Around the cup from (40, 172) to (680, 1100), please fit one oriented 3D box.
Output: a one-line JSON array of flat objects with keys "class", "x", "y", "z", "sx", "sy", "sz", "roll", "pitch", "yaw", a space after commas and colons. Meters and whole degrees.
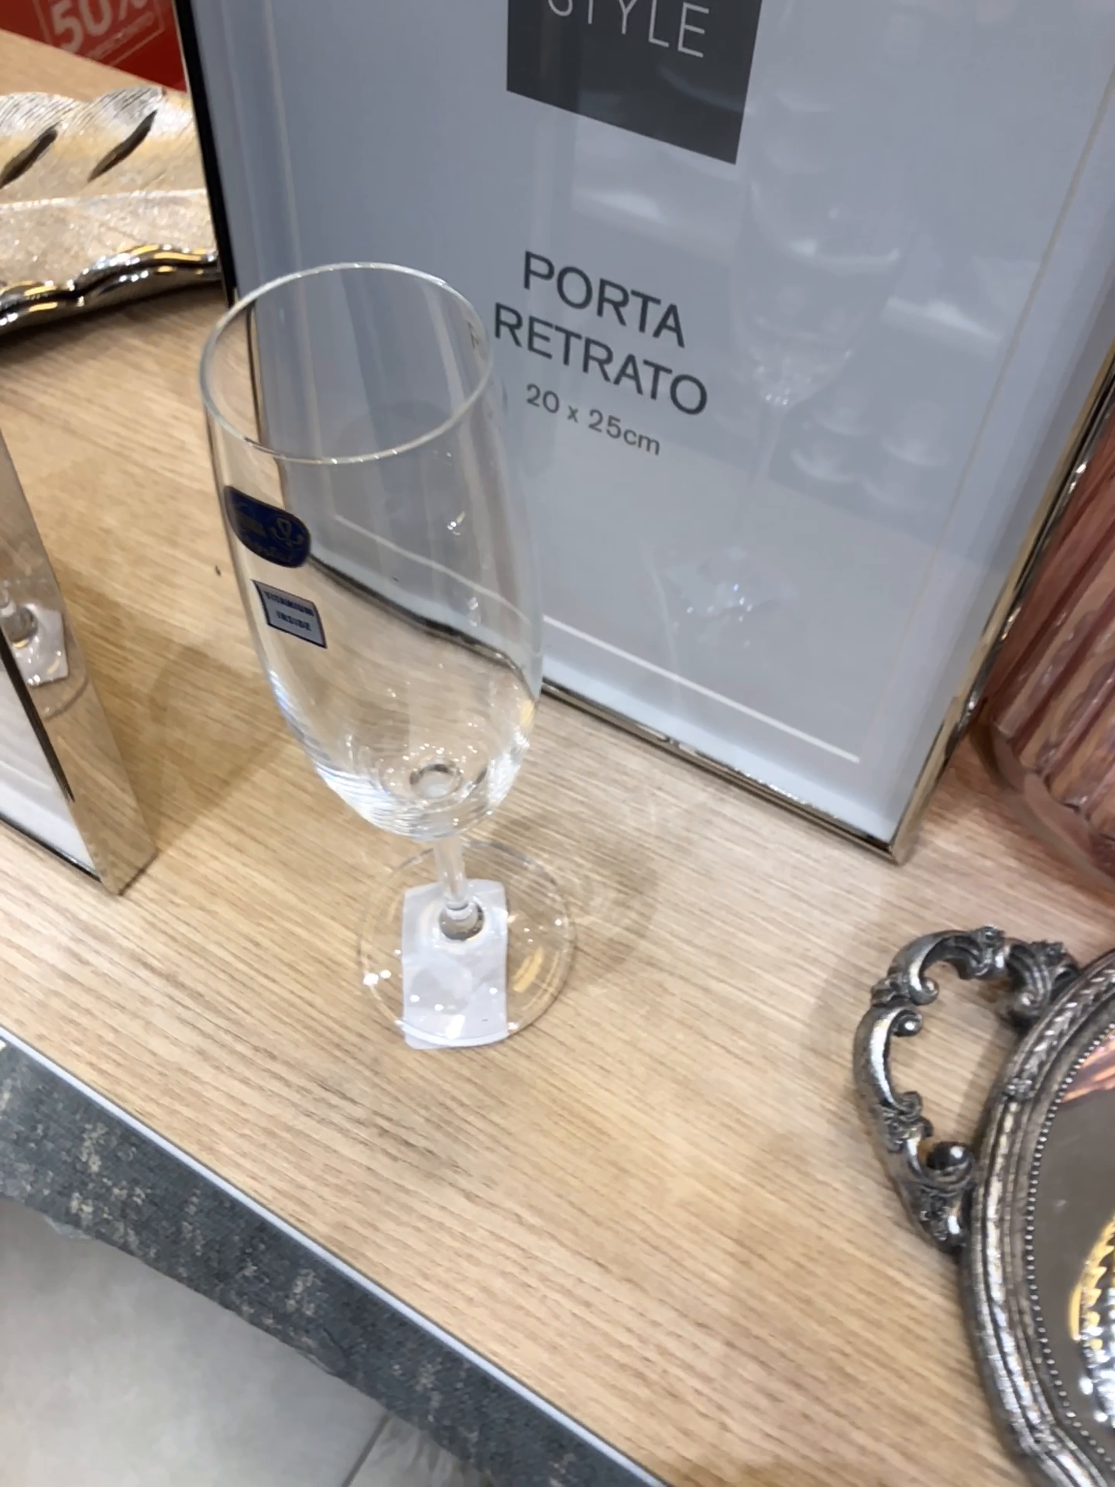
[{"class": "cup", "x": -0.026, "y": 0.000, "z": 0.280, "sx": 0.070, "sy": 0.219, "sz": 0.070, "roll": 0, "pitch": 57, "yaw": 1}]
